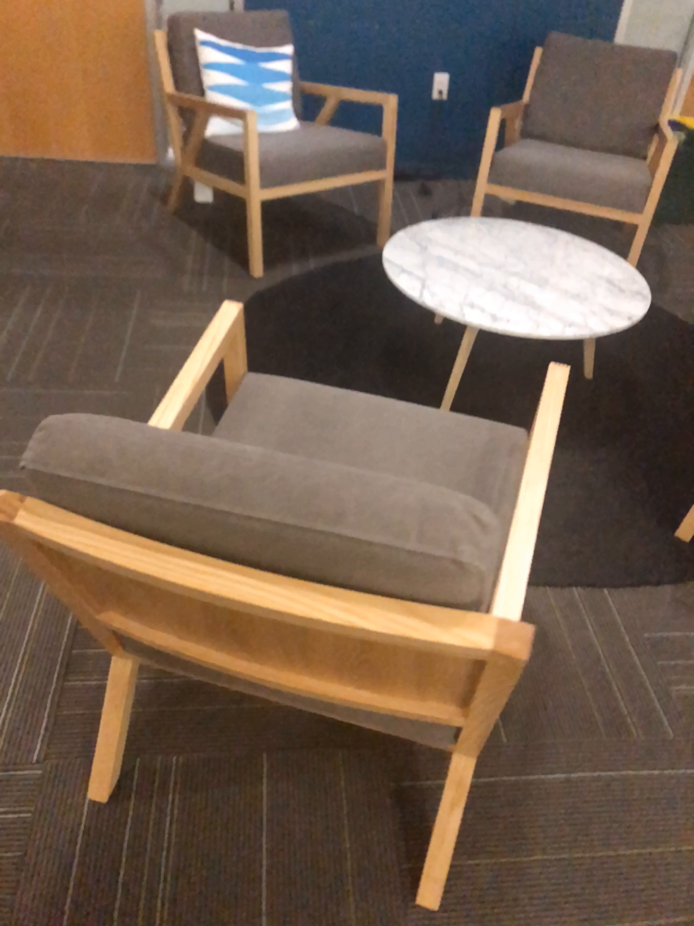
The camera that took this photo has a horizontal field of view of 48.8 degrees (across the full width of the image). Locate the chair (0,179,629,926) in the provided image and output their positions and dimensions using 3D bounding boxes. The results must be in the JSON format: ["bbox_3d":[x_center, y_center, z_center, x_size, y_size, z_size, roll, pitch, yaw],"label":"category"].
[{"bbox_3d":[-0.013,0.111,1.290,0.720,0.773,0.808,13,43,10],"label":"chair"}]

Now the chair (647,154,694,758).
[{"bbox_3d":[1.354,-0.078,1.679,0.872,0.753,0.725,35,47,25],"label":"chair"}]
